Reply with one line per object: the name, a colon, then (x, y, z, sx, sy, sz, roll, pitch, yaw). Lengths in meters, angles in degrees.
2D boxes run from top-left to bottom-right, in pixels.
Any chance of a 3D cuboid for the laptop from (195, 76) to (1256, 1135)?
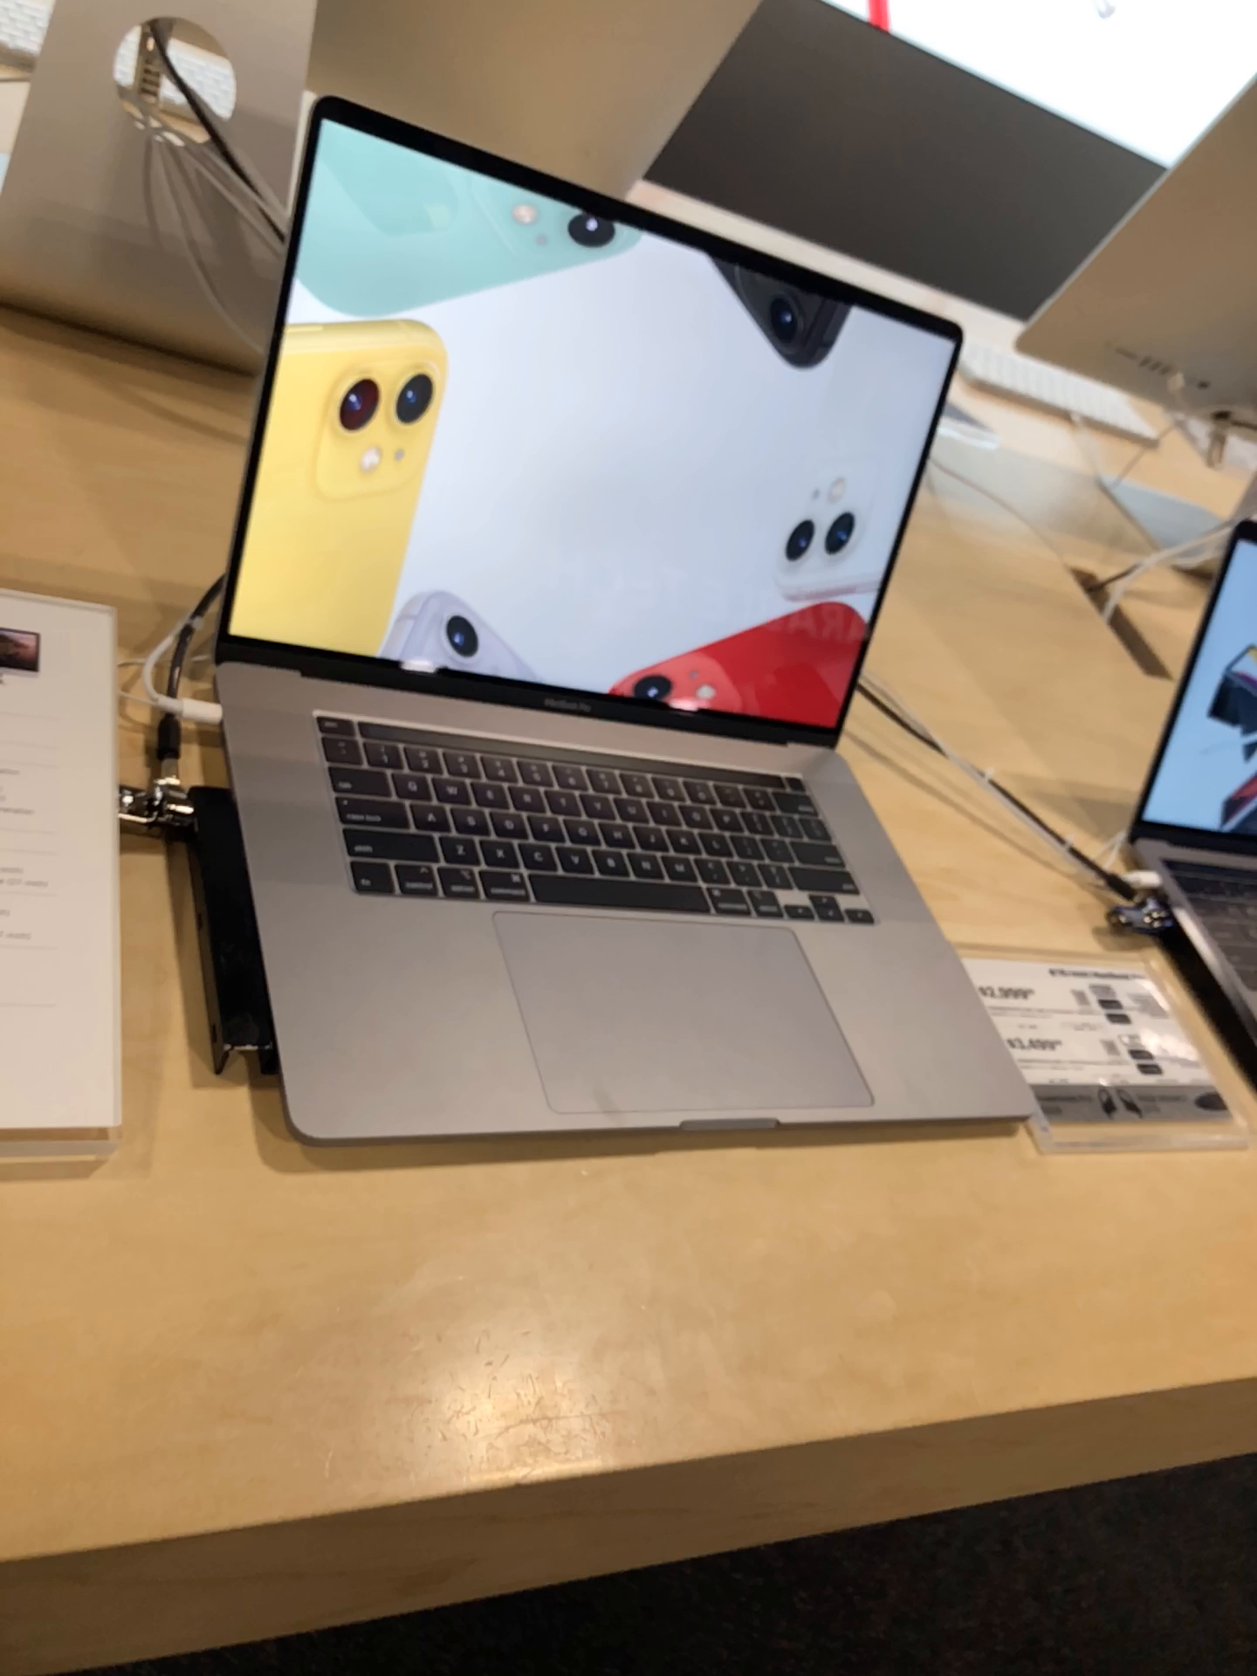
laptop: (0.028, -0.087, 0.598, 0.336, 0.204, 0.350, 6, 45, -29)
